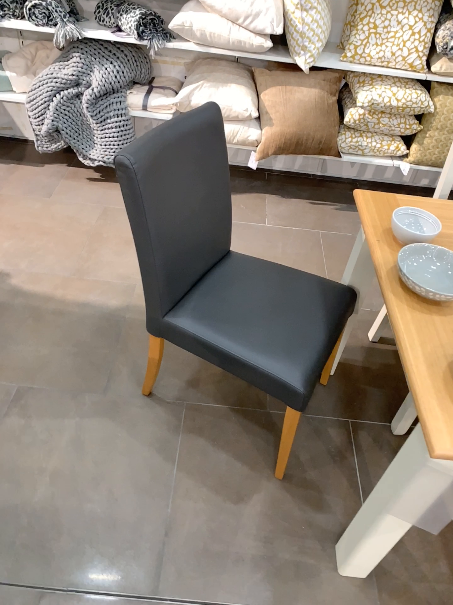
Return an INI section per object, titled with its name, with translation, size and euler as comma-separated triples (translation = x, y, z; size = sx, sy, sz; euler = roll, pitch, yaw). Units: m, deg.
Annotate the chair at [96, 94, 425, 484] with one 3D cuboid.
[chair]
translation = 0.060, -0.021, 1.403
size = 0.650, 0.906, 0.479
euler = 24, 45, 18
